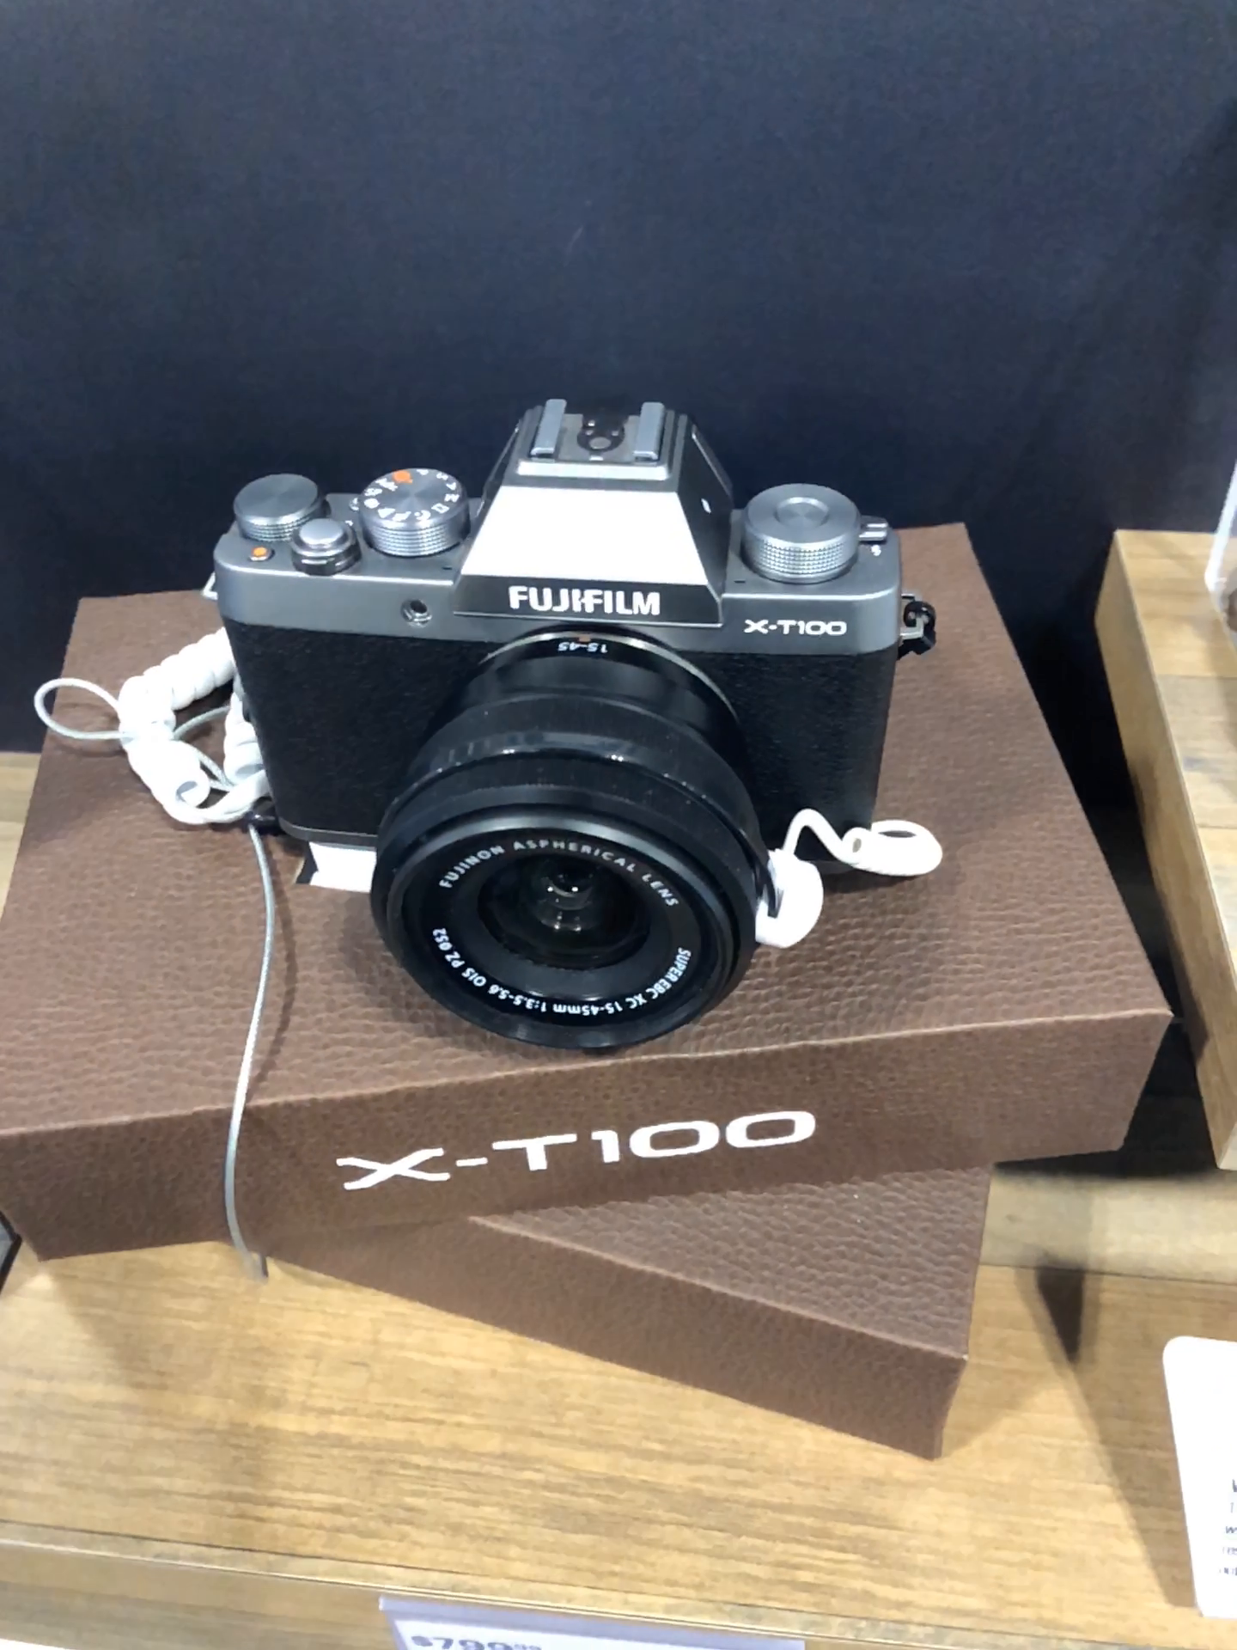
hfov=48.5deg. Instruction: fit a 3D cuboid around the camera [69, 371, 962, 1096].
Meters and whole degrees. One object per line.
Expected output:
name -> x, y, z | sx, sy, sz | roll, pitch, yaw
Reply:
camera -> -0.009, -0.022, 0.263 | 0.130, 0.089, 0.101 | 3, 42, 7
